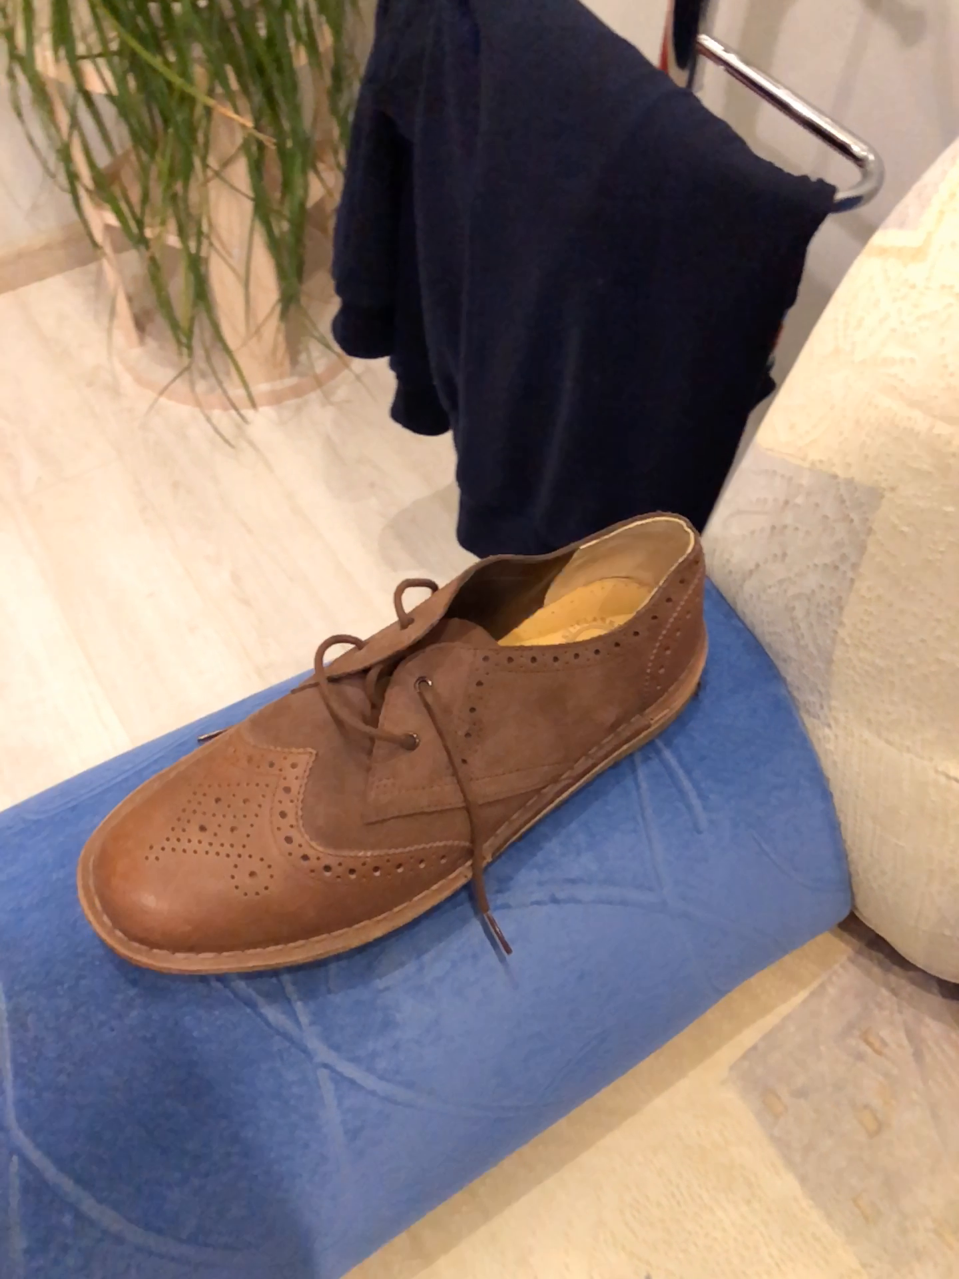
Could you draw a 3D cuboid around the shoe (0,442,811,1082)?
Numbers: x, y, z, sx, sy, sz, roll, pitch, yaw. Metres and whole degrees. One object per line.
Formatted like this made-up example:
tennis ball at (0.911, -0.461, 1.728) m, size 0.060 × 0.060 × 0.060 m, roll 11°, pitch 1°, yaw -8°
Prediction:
shoe at (-0.021, 0.039, 0.456) m, size 0.313 × 0.089 × 0.113 m, roll -28°, pitch 59°, yaw -20°
